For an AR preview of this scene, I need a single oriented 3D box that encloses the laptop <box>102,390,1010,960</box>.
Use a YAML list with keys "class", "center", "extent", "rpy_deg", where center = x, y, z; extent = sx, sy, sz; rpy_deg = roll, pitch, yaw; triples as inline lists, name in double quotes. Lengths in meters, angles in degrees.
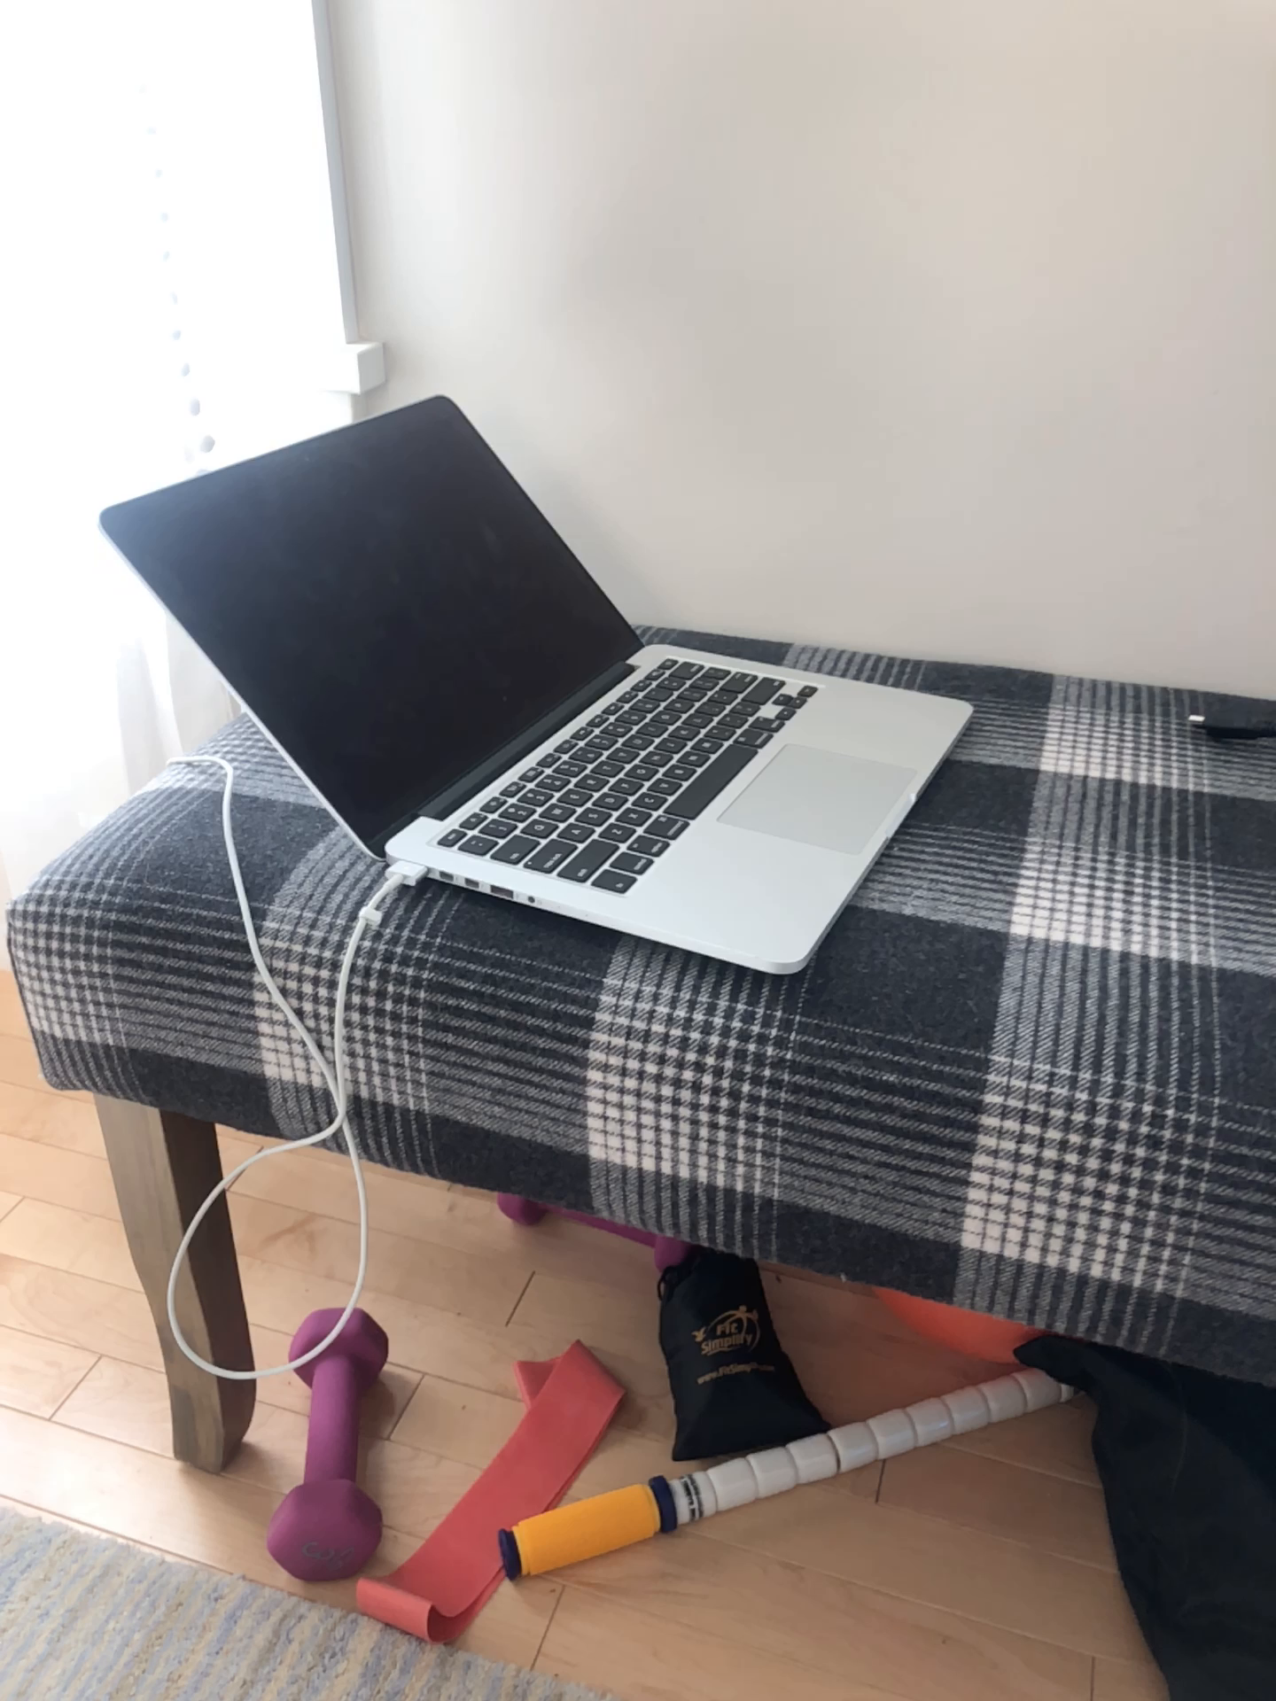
- class: "laptop"
  center: [-0.026, -0.126, 0.751]
  extent: [0.366, 0.142, 0.308]
  rpy_deg: [14, 32, 22]
